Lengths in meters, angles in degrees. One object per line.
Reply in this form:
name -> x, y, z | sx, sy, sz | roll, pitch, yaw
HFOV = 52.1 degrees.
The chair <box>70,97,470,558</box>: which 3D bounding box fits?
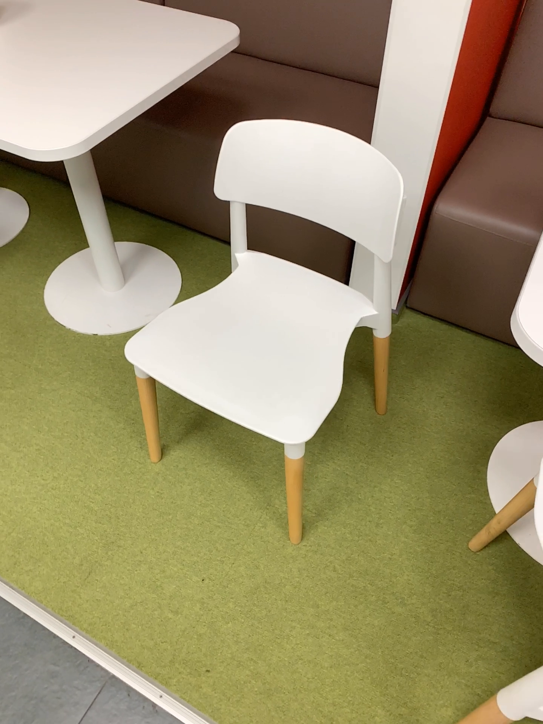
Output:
chair -> 0.013, -0.045, 1.259 | 0.501, 0.787, 0.502 | 26, 55, 19
